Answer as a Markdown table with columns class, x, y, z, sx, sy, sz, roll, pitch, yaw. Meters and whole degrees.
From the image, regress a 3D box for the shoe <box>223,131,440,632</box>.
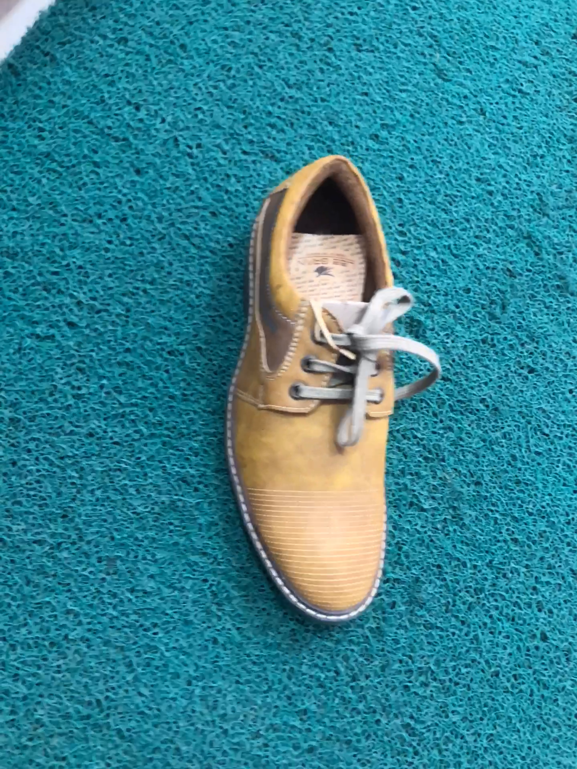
| class | x | y | z | sx | sy | sz | roll | pitch | yaw |
| --- | --- | --- | --- | --- | --- | --- | --- | --- | --- |
| shoe | 0.015 | -0.002 | 0.431 | 0.100 | 0.110 | 0.300 | 1 | 74 | -13 |
